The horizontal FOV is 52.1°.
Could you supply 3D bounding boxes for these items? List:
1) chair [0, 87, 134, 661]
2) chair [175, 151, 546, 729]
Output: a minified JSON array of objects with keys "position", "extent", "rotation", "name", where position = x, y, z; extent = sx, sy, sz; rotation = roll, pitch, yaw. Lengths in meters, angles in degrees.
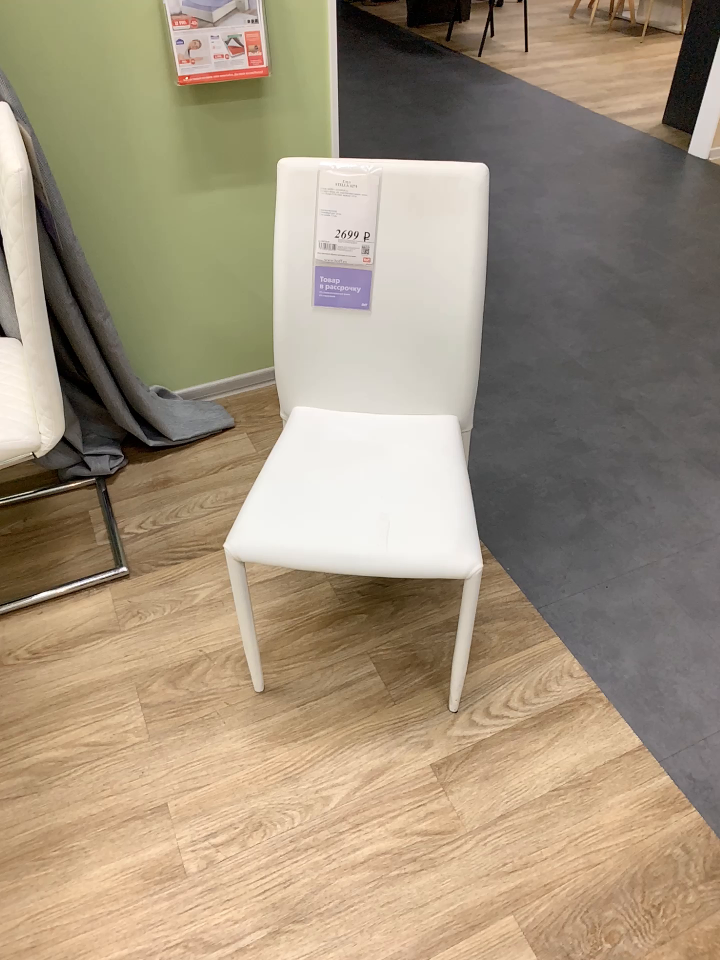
[{"position":[-0.877,-0.183,1.482],"extent":[0.561,0.945,0.452],"rotation":[-17,44,-18],"name":"chair"},{"position":[0.027,-0.042,1.400],"extent":[0.450,0.925,0.553],"rotation":[4,42,5],"name":"chair"}]
